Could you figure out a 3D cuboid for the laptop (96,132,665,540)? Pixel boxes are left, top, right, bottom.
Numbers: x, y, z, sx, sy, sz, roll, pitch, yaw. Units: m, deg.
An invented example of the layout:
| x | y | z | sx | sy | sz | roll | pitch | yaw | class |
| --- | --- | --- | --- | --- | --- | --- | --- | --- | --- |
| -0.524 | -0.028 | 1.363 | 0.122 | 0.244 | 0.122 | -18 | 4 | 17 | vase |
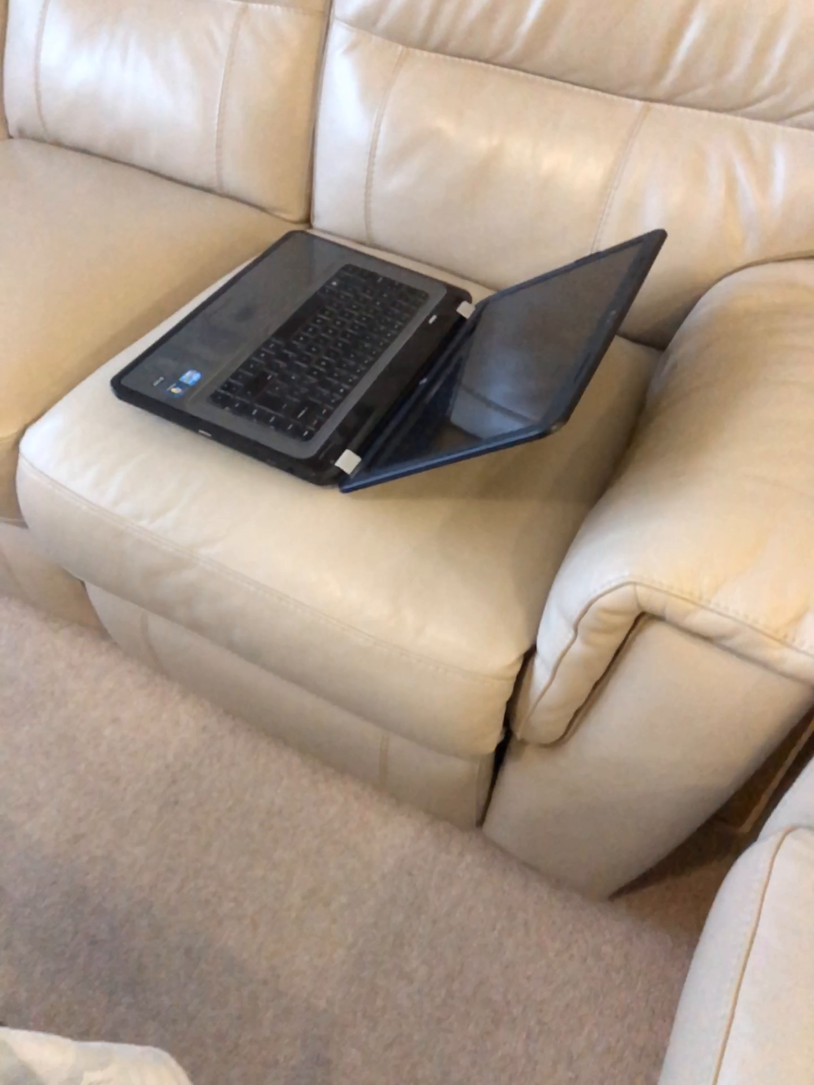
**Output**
| x | y | z | sx | sy | sz | roll | pitch | yaw | class |
| --- | --- | --- | --- | --- | --- | --- | --- | --- | --- |
| -0.005 | -0.231 | 0.888 | 0.424 | 0.114 | 0.359 | 20 | 50 | 13 | laptop |
